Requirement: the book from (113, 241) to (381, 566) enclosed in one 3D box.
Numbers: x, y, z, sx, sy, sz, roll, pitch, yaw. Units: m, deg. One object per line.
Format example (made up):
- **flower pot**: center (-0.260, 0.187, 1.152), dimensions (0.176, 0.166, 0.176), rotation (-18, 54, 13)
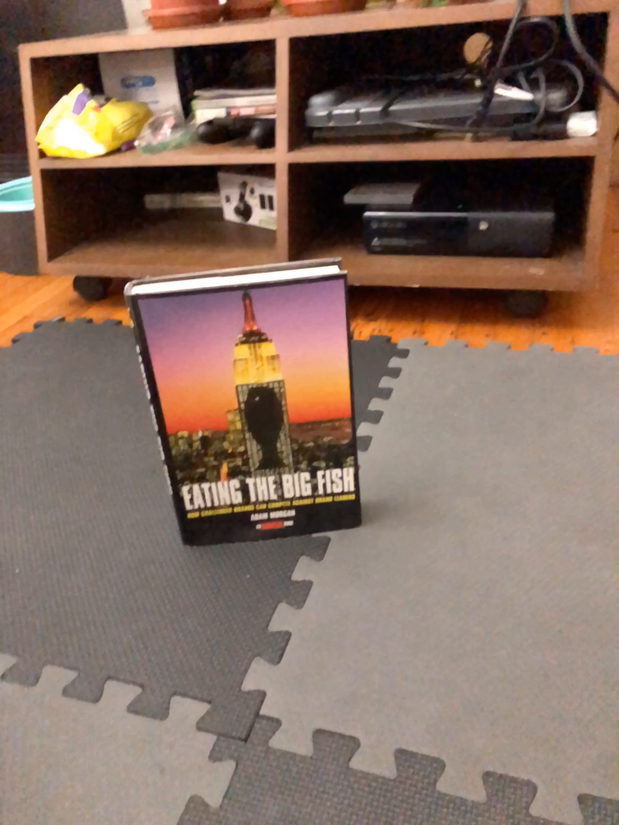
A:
- **book**: center (-0.038, 0.003, 0.566), dimensions (0.180, 0.258, 0.050), rotation (-8, 32, -3)
